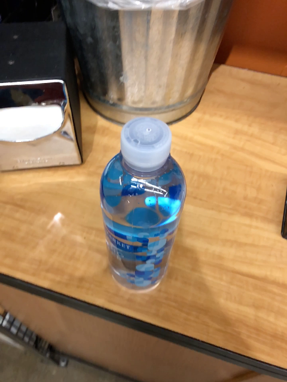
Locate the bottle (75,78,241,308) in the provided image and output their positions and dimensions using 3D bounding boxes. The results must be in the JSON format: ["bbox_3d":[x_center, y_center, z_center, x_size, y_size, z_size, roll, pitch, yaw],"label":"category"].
[{"bbox_3d":[0.003,0.020,0.268,0.070,0.199,0.070,1,55,-2],"label":"bottle"}]
